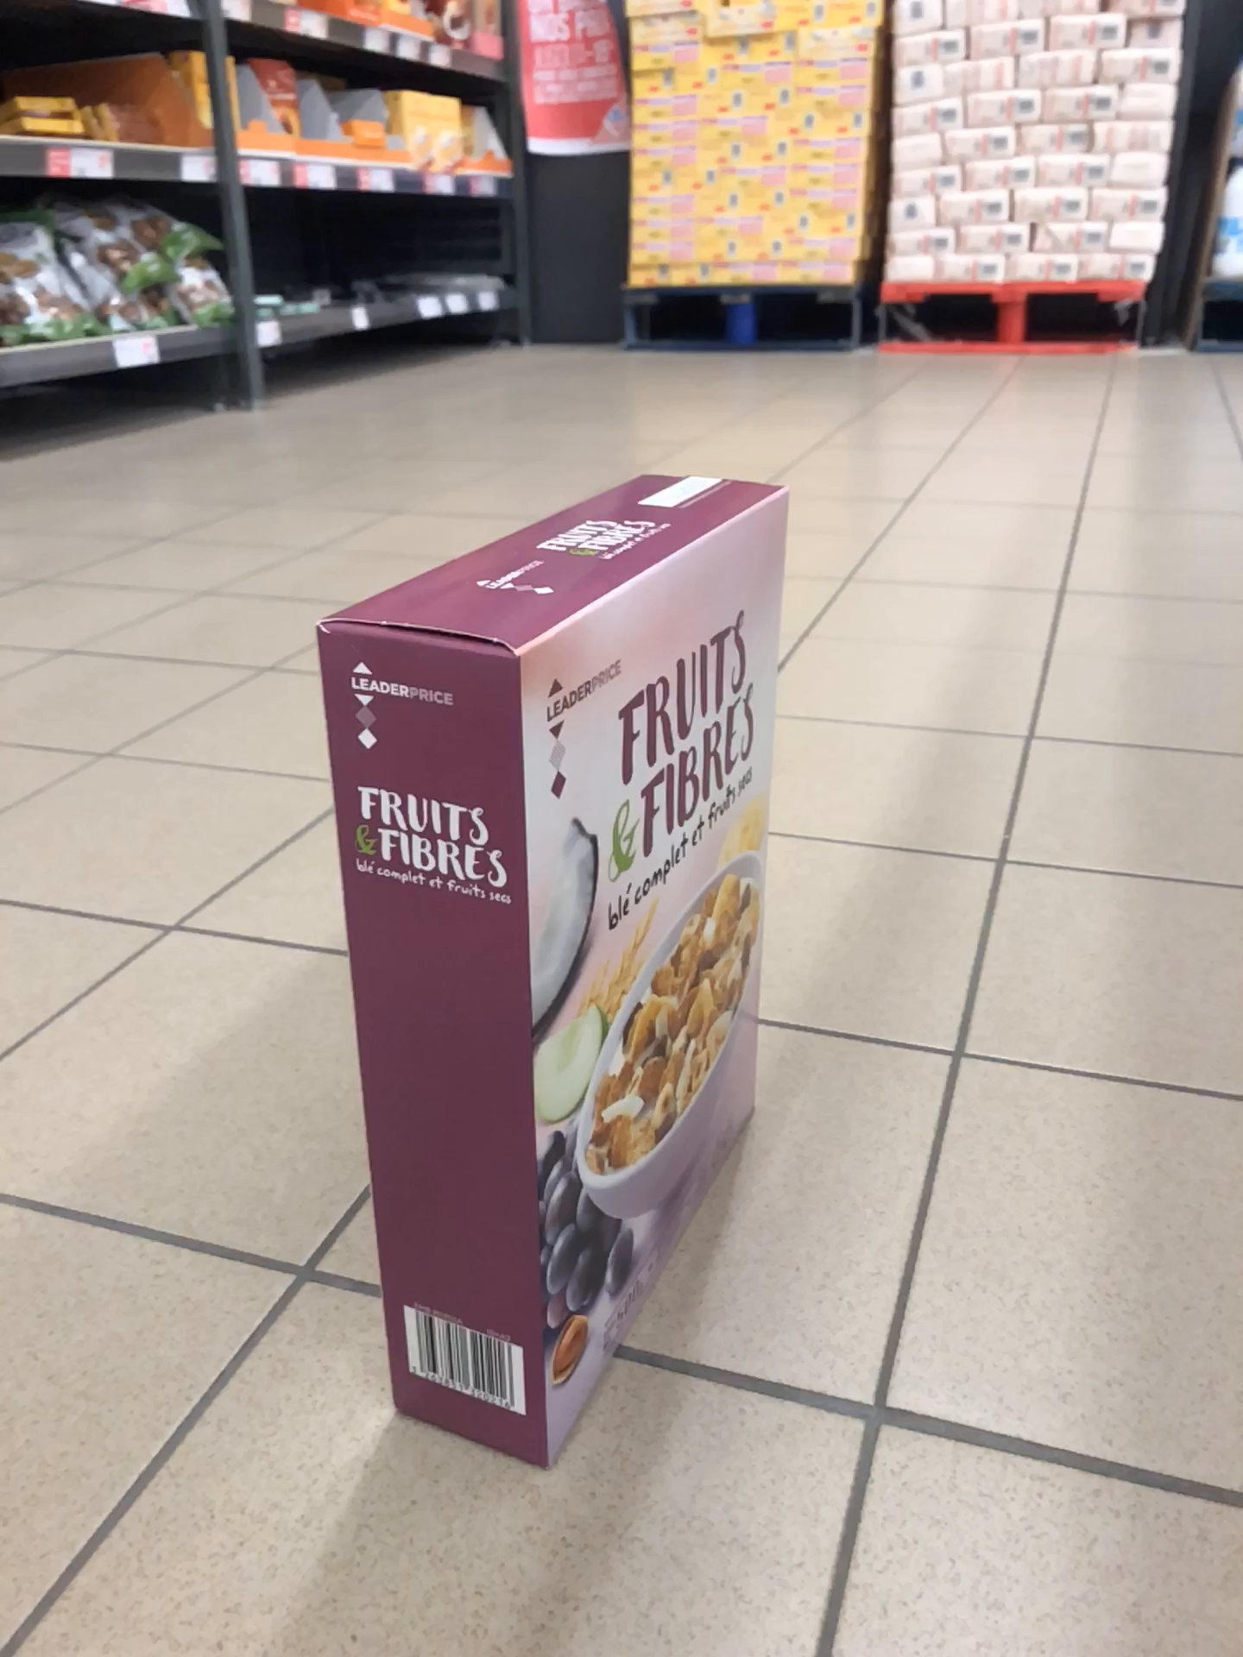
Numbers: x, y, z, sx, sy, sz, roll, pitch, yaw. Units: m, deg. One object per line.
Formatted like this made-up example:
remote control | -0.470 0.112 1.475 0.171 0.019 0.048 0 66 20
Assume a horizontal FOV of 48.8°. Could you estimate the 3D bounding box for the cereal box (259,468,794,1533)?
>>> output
cereal box | -0.009 0.035 0.434 0.060 0.259 0.211 9 25 22
